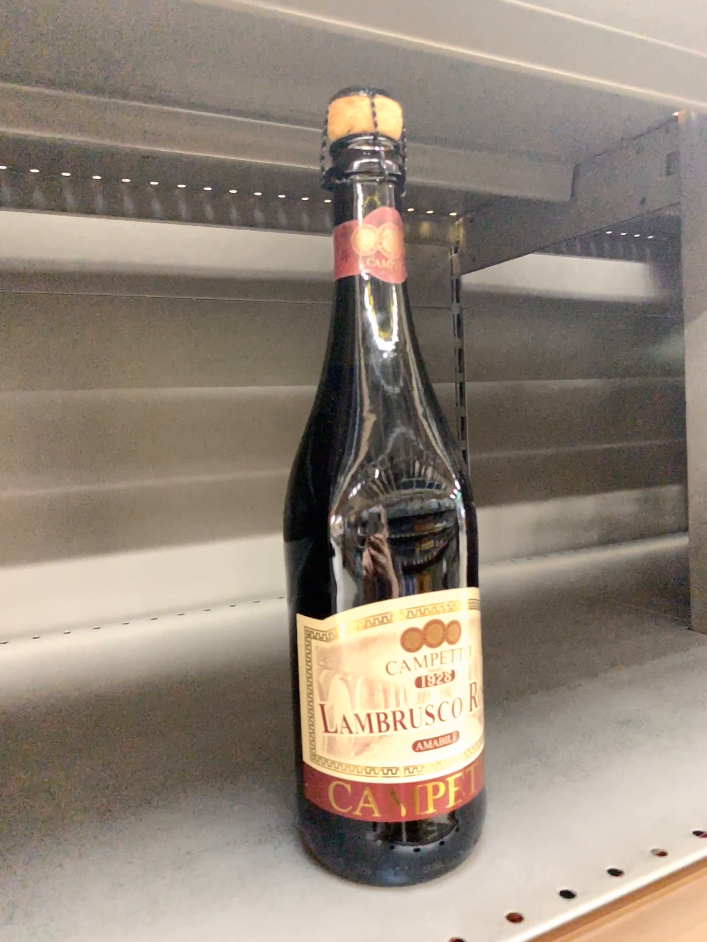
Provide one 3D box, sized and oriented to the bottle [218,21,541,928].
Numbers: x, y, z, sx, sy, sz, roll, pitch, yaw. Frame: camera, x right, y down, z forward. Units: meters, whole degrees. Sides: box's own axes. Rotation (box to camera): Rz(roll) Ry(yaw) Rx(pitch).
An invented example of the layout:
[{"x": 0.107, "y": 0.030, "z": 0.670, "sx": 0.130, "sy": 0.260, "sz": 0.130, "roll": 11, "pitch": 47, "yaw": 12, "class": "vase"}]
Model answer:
[{"x": 0.009, "y": 0.001, "z": 0.295, "sx": 0.090, "sy": 0.300, "sz": 0.080, "roll": -4, "pitch": 4, "yaw": -28, "class": "bottle"}]
